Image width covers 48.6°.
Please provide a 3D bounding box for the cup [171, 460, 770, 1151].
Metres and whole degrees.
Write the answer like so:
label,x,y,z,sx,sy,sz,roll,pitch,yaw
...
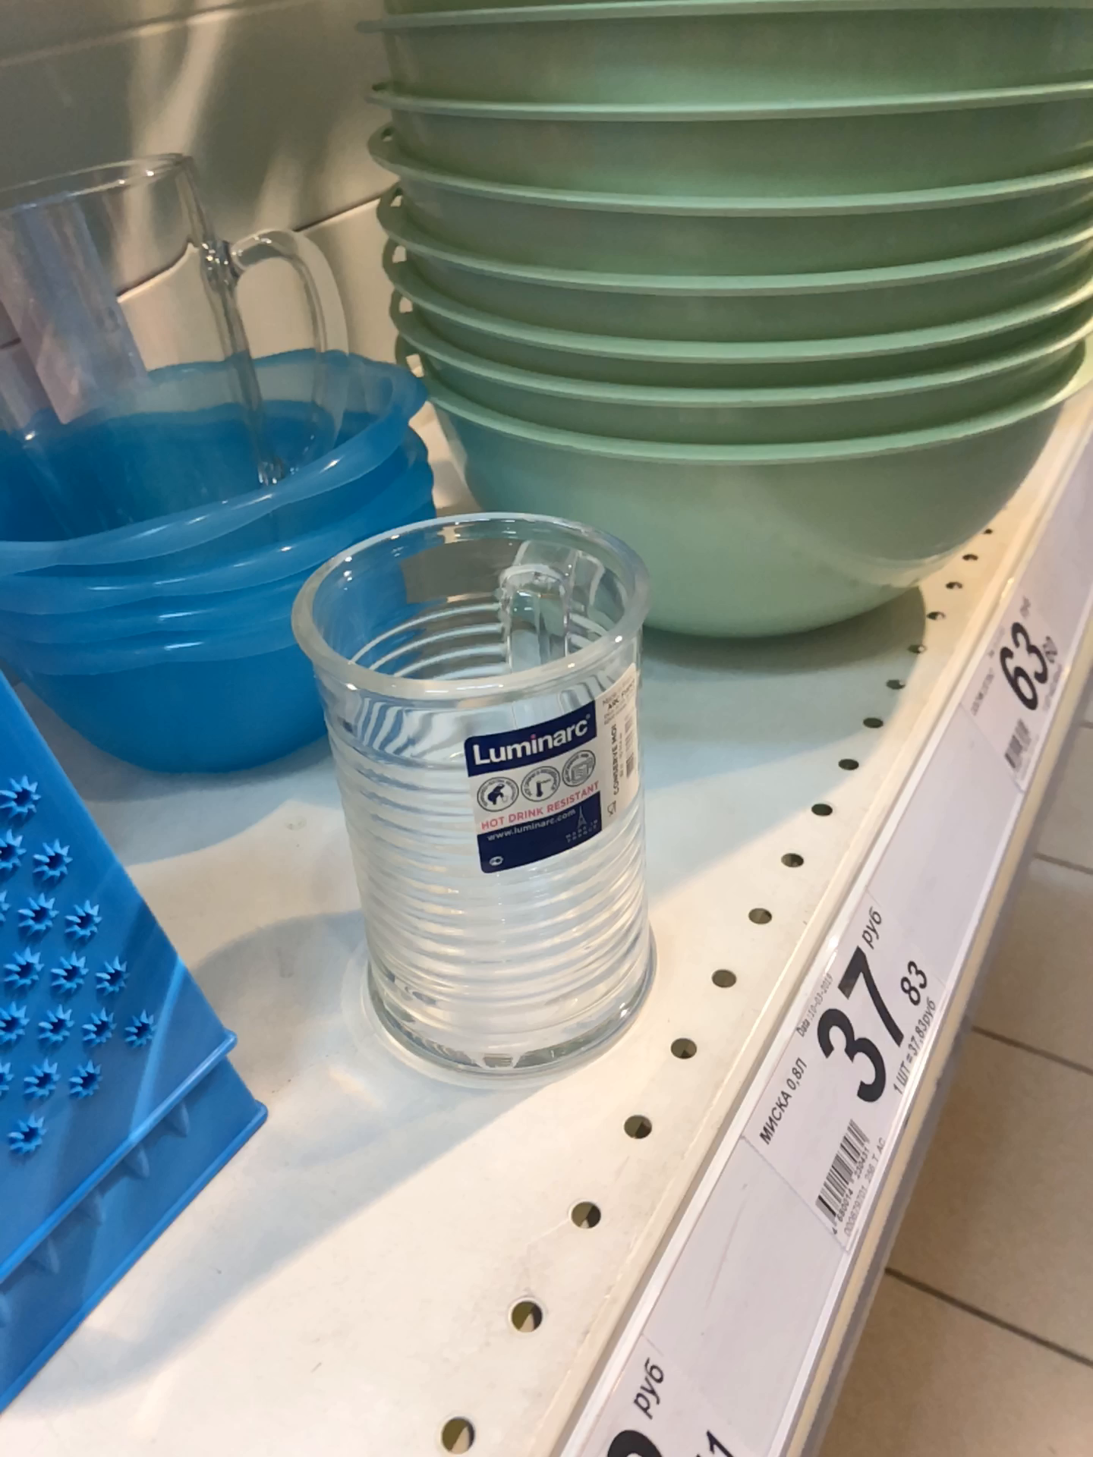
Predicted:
label,x,y,z,sx,sy,sz,roll,pitch,yaw
cup,-0.009,0.012,0.285,0.087,0.104,0.102,15,40,23
